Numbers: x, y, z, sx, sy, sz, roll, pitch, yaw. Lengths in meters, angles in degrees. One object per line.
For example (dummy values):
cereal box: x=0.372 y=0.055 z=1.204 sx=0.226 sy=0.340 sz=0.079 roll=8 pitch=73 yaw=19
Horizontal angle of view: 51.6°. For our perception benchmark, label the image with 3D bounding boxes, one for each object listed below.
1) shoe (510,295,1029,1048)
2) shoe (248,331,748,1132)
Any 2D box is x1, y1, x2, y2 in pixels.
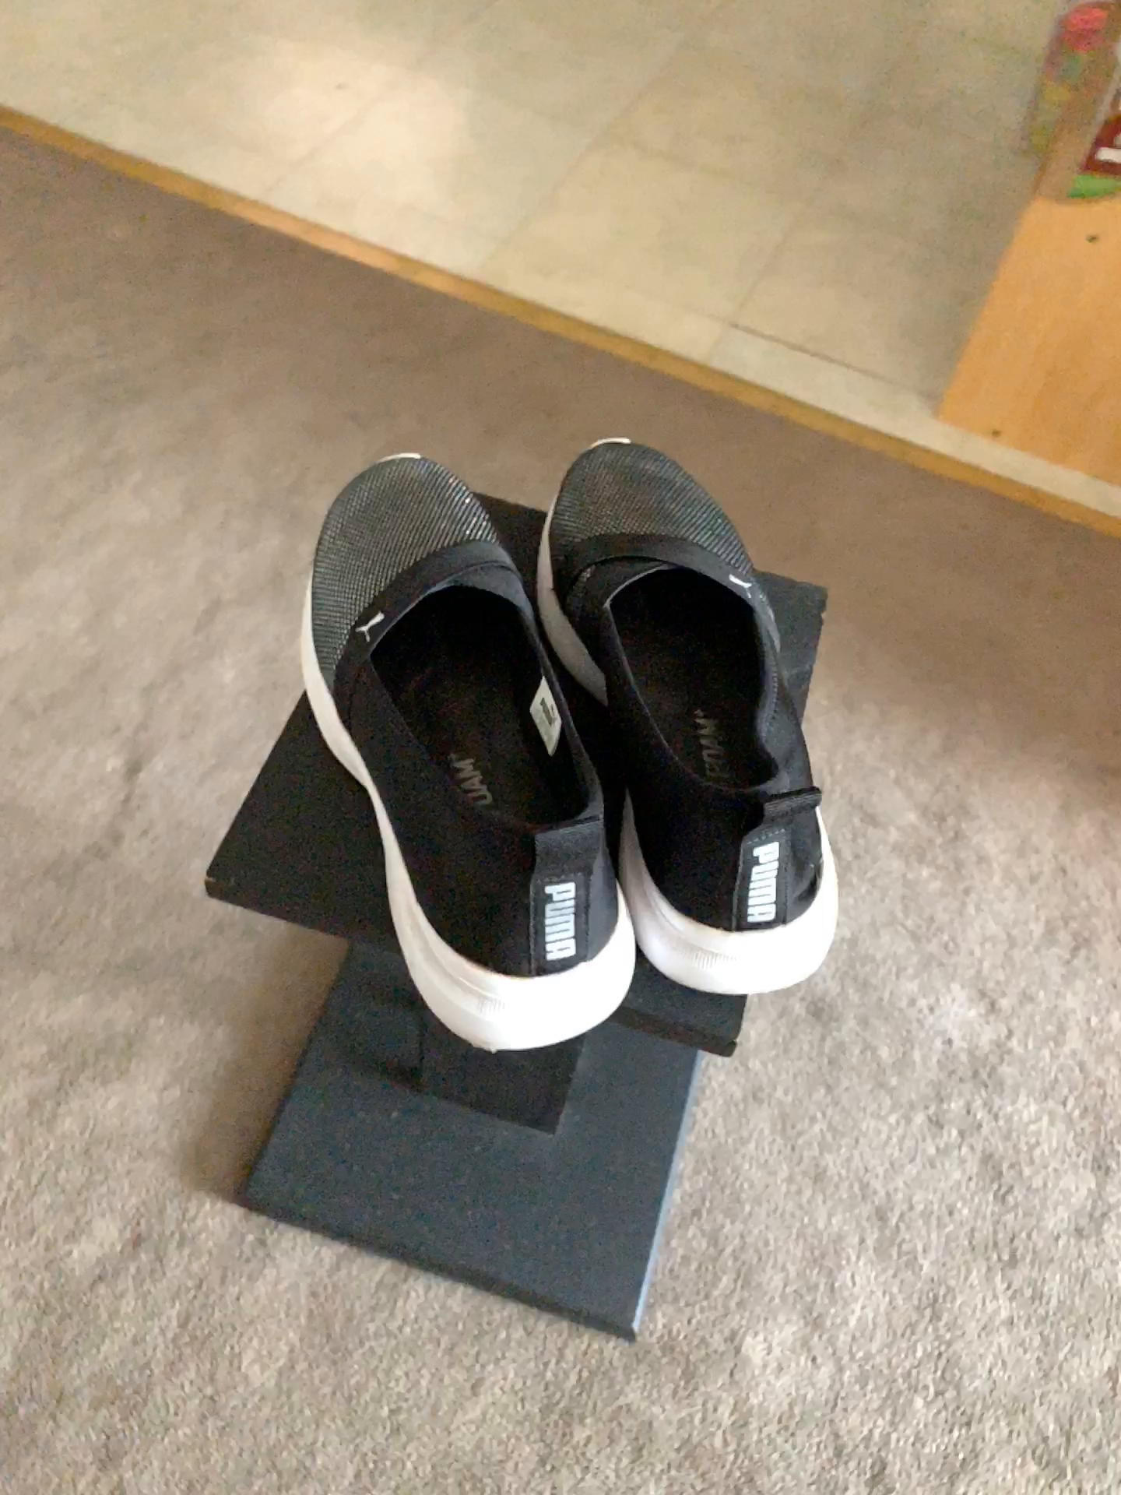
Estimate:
shoe: x=0.053 y=-0.040 z=0.424 sx=0.100 sy=0.099 sz=0.262 roll=-6 pitch=57 yaw=-10
shoe: x=-0.036 y=-0.018 z=0.406 sx=0.100 sy=0.099 sz=0.258 roll=-10 pitch=58 yaw=-13
